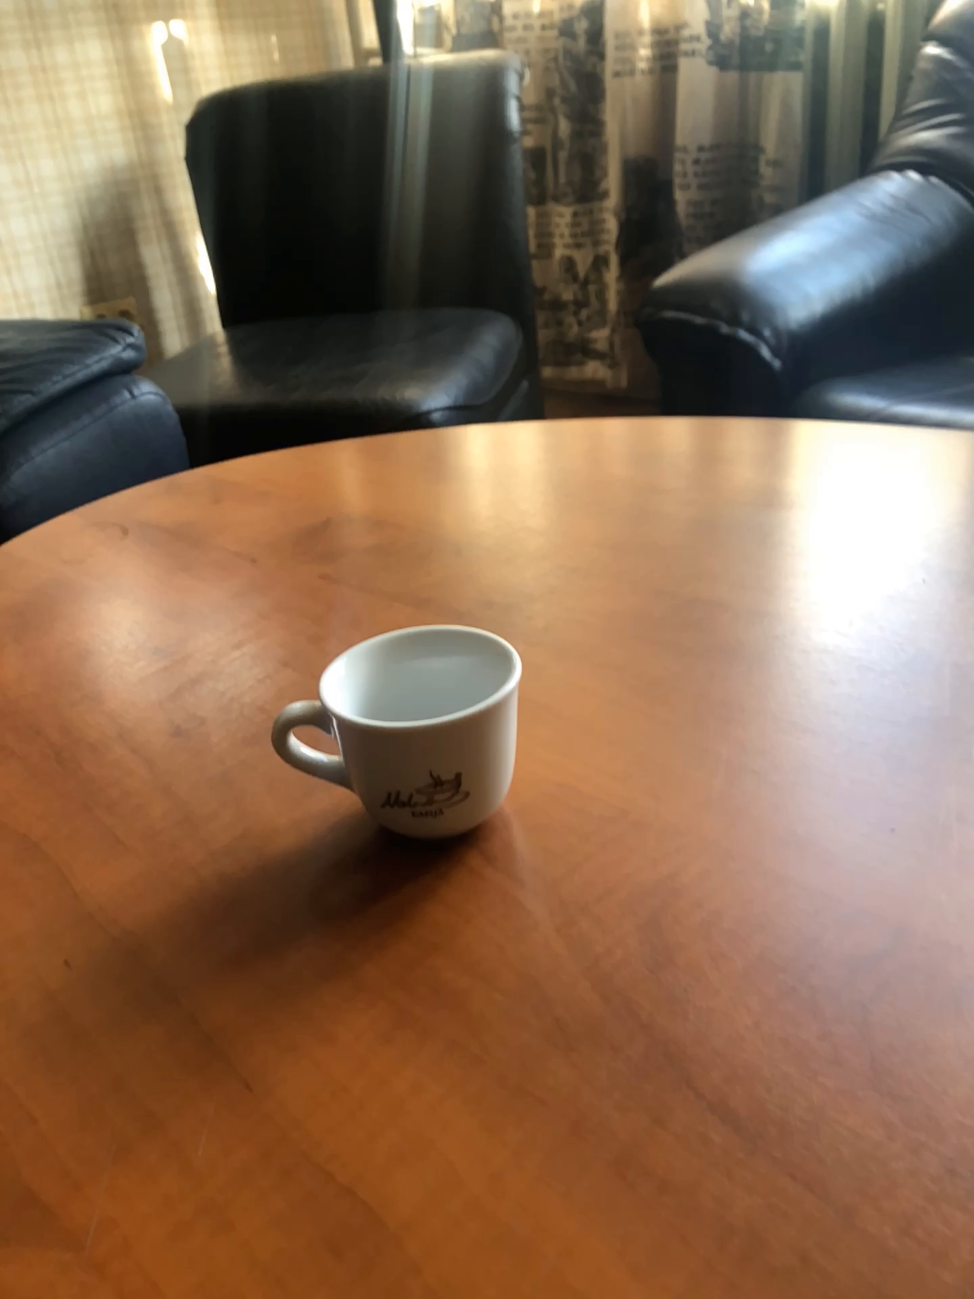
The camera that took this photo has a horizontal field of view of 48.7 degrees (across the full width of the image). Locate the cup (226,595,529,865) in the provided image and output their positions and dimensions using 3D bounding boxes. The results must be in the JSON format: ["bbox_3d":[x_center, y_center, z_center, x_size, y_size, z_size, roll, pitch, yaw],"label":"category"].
[{"bbox_3d":[-0.034,0.024,0.348,0.083,0.050,0.065,-8,27,-2],"label":"cup"}]
